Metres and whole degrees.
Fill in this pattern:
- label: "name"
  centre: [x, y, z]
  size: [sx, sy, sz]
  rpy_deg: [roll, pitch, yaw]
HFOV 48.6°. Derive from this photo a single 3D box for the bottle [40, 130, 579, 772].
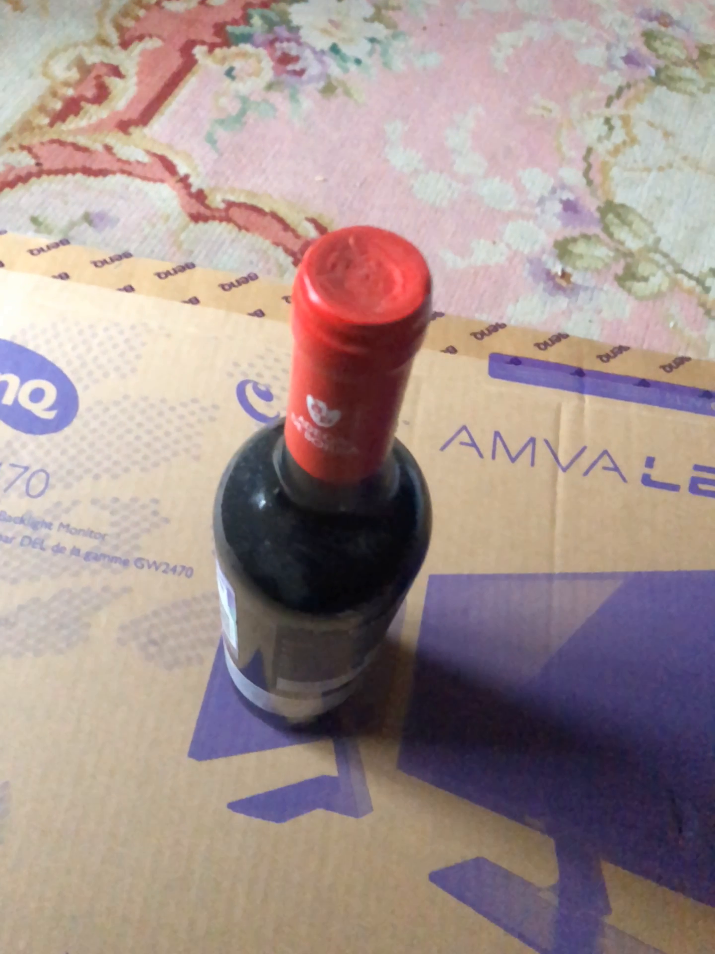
- label: "bottle"
  centre: [-0.015, 0.036, 0.290]
  size: [0.090, 0.299, 0.090]
  rpy_deg: [2, 64, -4]
